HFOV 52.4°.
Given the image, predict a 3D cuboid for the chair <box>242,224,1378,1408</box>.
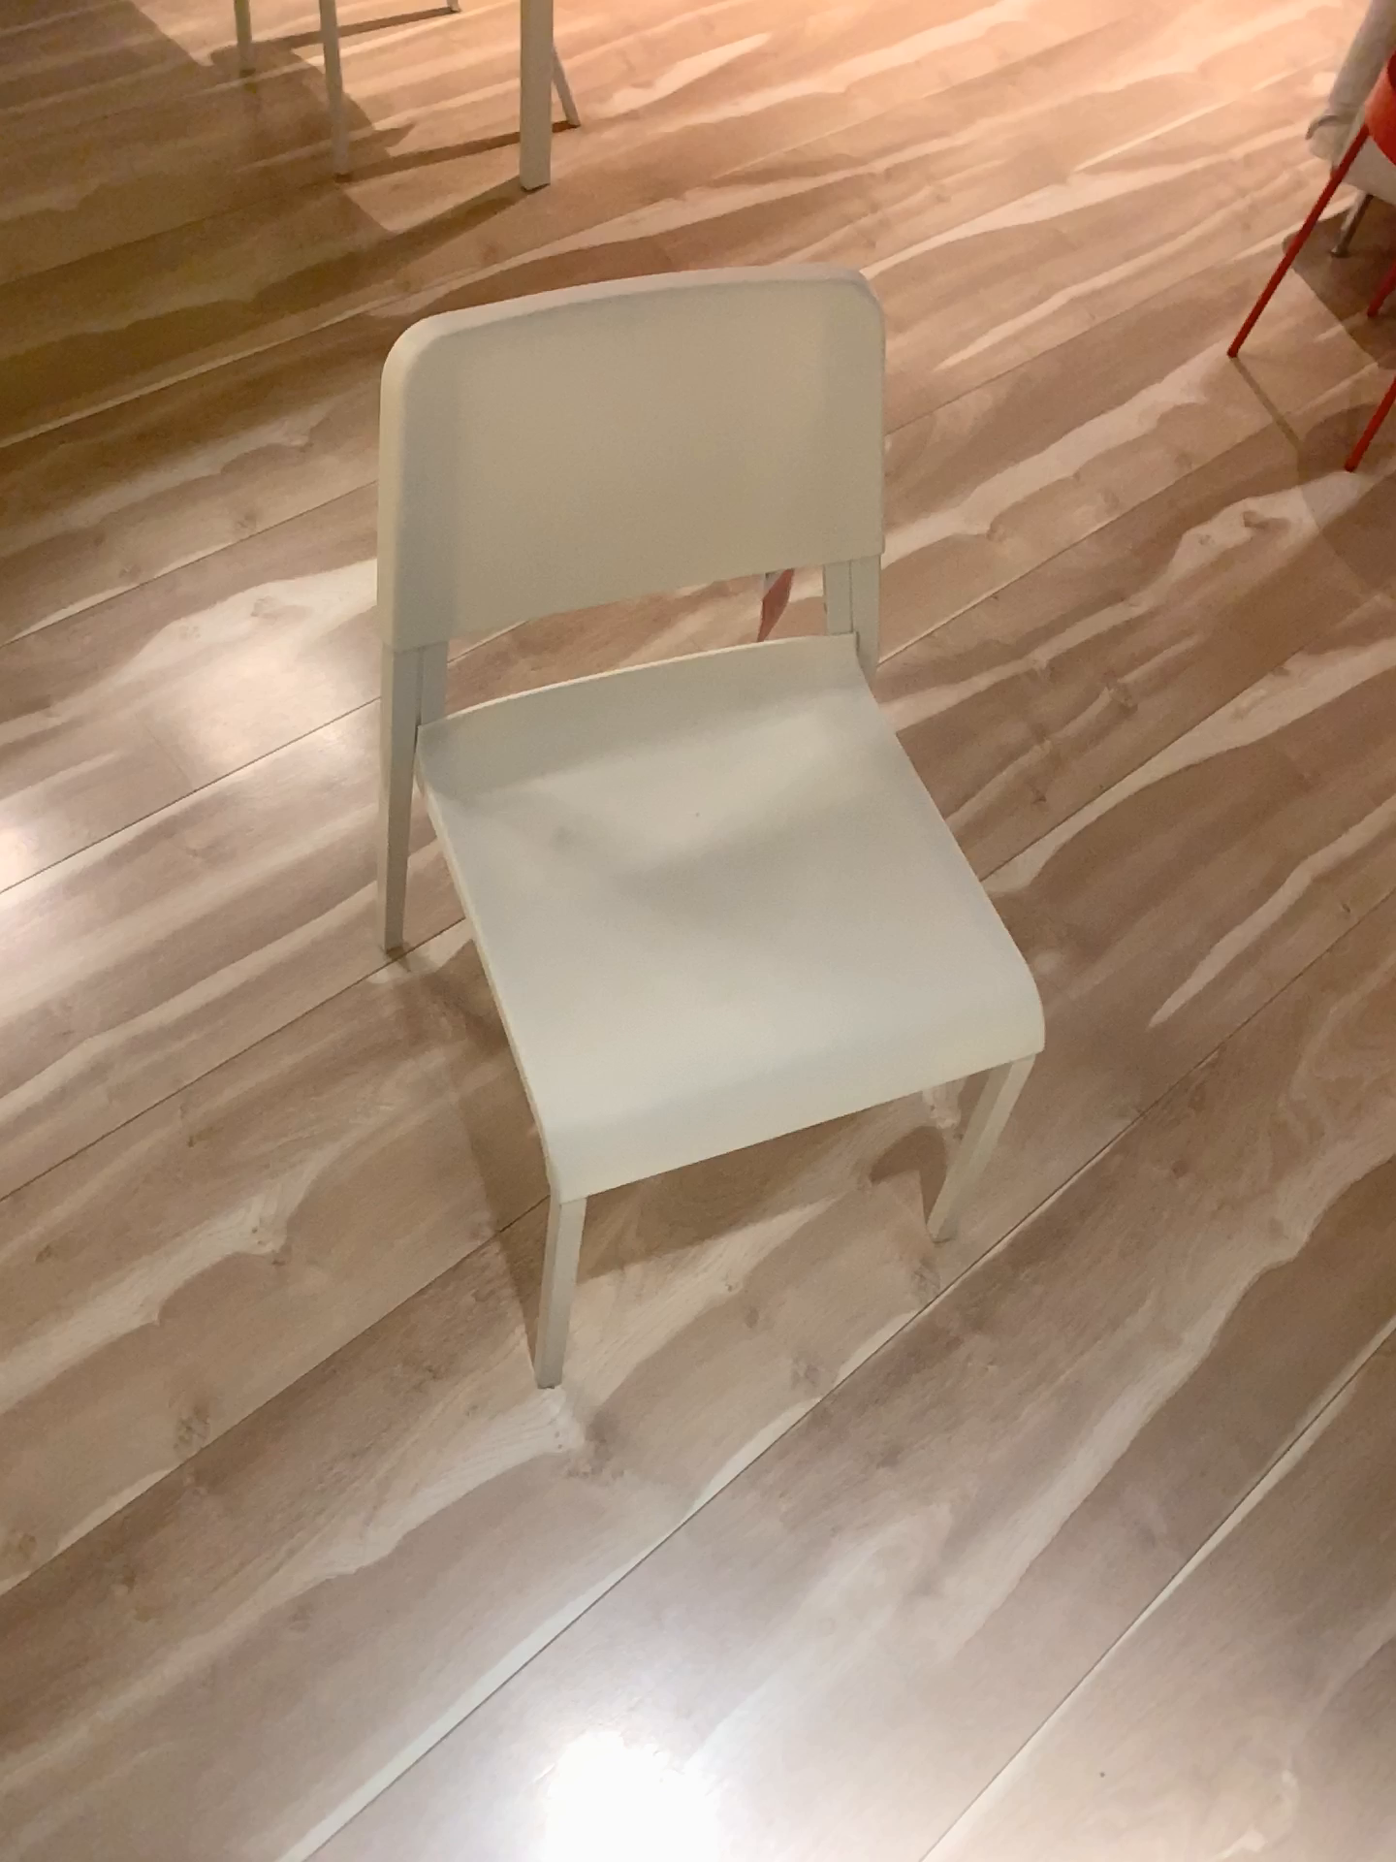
[{"bbox_3d":[0.009,-0.053,1.163,0.520,0.709,0.551,-16,62,-16],"label":"chair"}]
